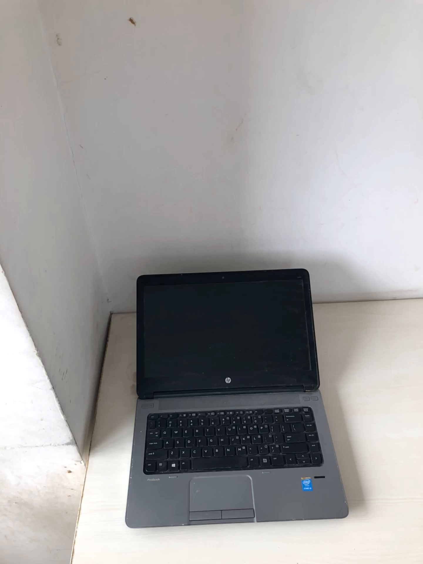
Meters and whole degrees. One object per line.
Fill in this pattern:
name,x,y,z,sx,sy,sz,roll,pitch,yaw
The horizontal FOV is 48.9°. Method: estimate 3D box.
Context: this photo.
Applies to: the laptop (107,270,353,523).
laptop,0.022,0.169,0.812,0.327,0.137,0.407,-1,42,-2
